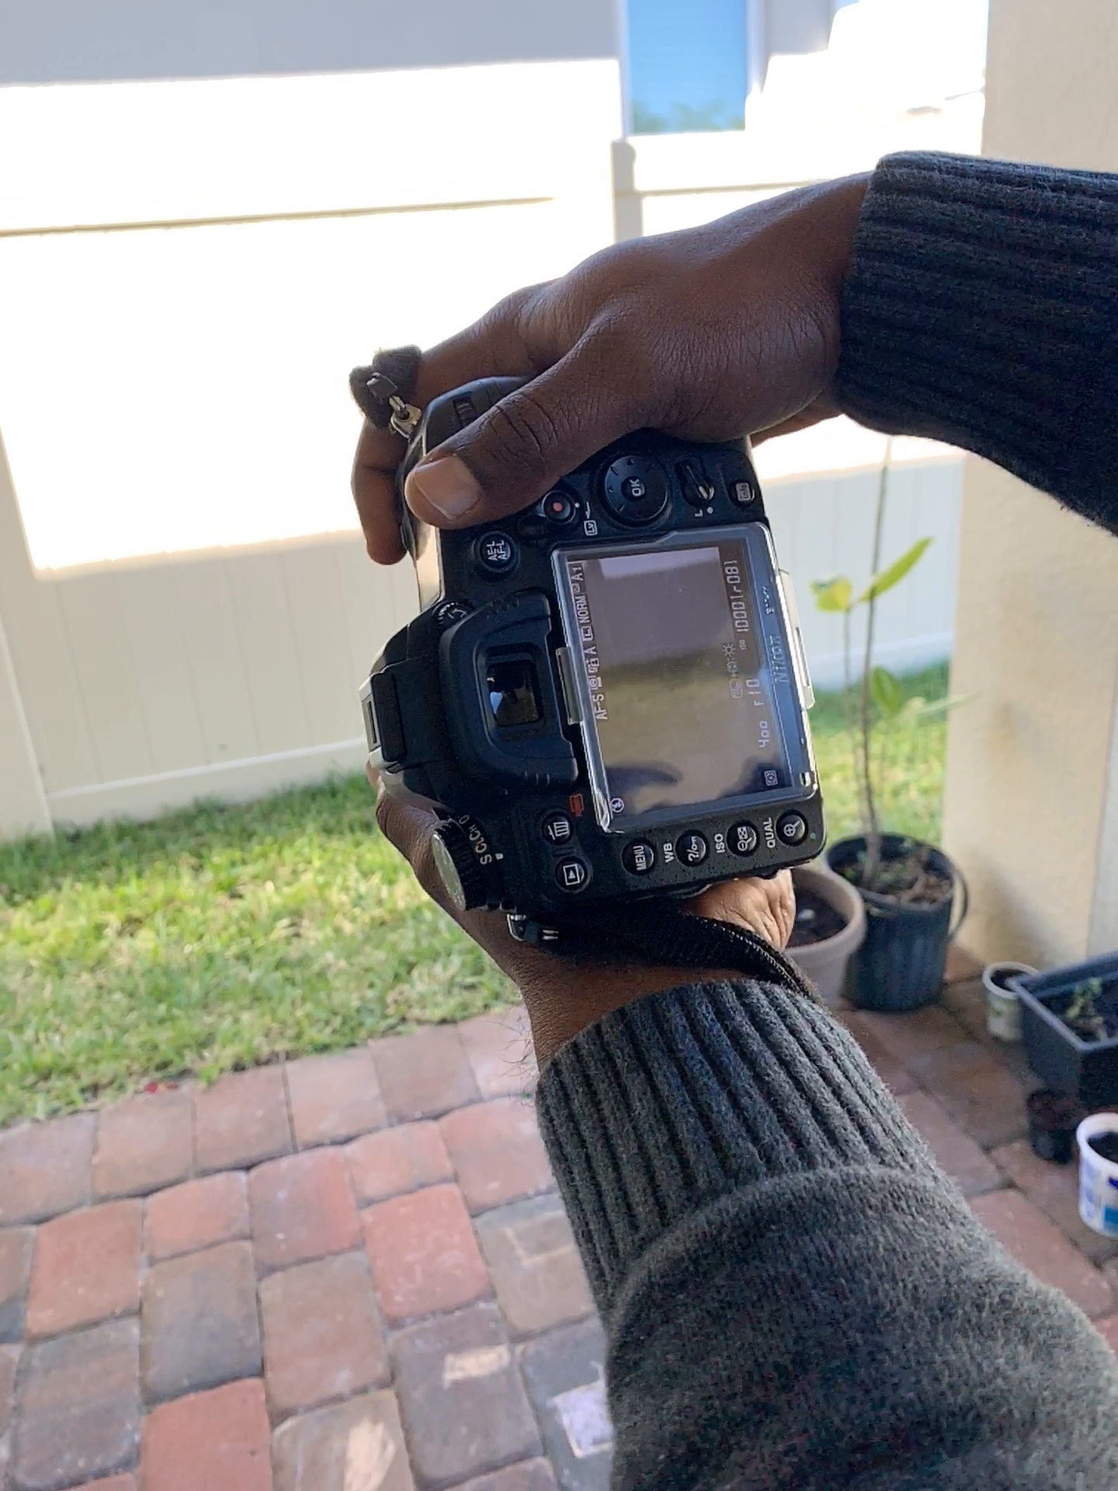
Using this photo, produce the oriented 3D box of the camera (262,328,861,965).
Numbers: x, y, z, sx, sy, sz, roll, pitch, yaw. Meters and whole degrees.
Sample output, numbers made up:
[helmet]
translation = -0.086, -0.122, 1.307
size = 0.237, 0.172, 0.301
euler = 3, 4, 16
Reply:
[camera]
translation = -0.016, -0.020, 0.305
size = 0.090, 0.110, 0.170
euler = -11, 1, -18
